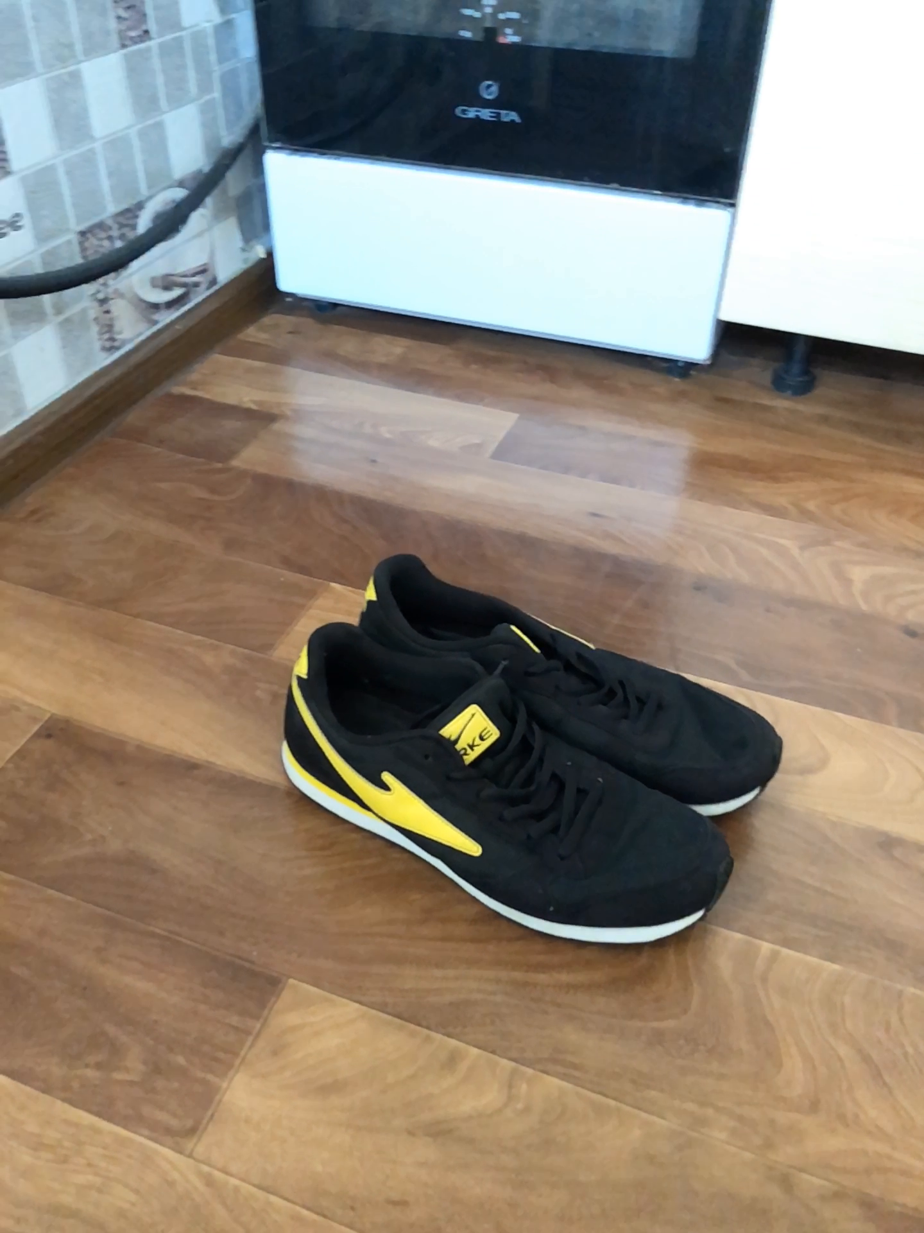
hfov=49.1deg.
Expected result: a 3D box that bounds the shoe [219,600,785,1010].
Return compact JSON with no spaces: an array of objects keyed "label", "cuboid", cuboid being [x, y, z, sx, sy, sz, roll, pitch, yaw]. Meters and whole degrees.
[{"label":"shoe","cuboid":[0.018,0.097,0.593,0.300,0.079,0.111,19,43,21]}]

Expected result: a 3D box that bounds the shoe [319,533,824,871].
[{"label":"shoe","cuboid":[0.066,0.045,0.666,0.300,0.079,0.111,18,42,19]}]
